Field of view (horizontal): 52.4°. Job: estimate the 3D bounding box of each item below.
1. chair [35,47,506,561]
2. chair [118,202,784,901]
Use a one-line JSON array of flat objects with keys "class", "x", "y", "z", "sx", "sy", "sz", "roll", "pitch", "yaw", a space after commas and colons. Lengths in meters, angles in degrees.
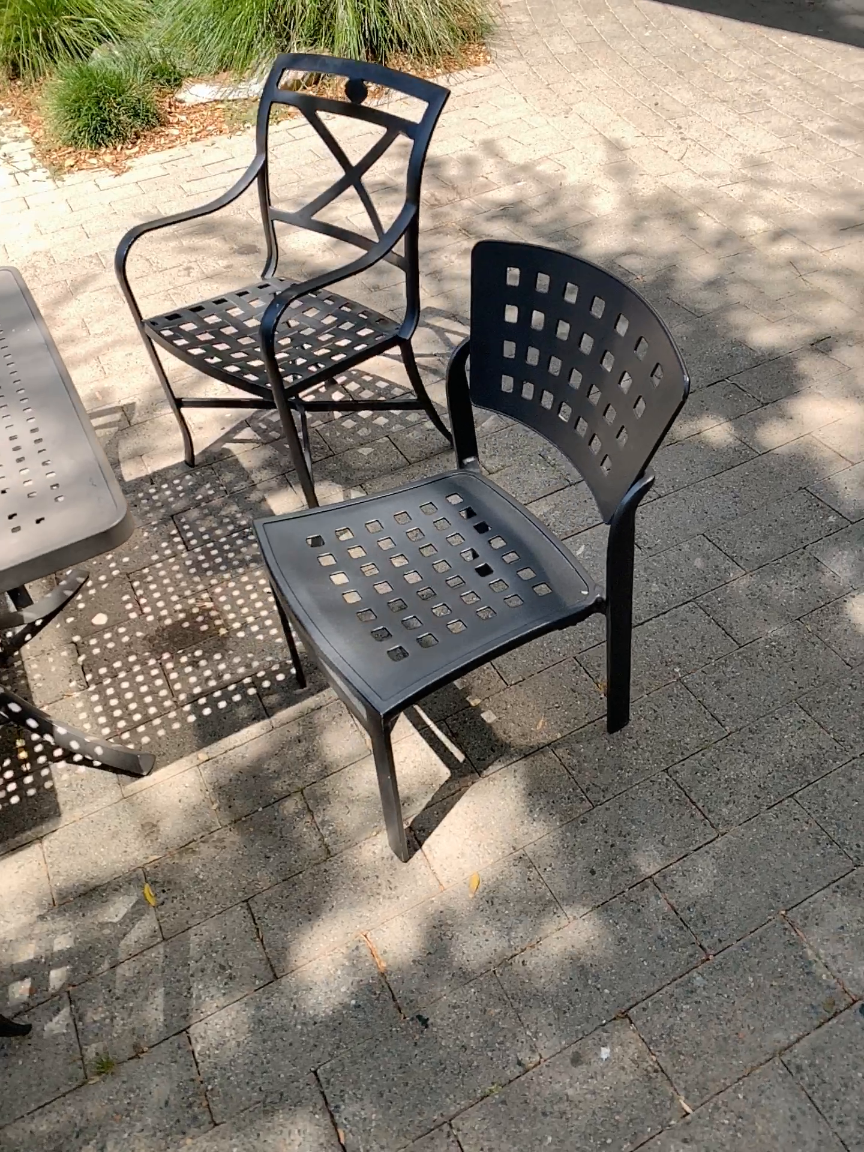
[{"class": "chair", "x": -0.285, "y": -0.618, "z": 1.952, "sx": 0.622, "sy": 0.756, "sz": 0.651, "roll": 30, "pitch": 55, "yaw": 30}, {"class": "chair", "x": 0.018, "y": -0.059, "z": 1.417, "sx": 0.650, "sy": 0.706, "sz": 0.623, "roll": -27, "pitch": 49, "yaw": -19}]
